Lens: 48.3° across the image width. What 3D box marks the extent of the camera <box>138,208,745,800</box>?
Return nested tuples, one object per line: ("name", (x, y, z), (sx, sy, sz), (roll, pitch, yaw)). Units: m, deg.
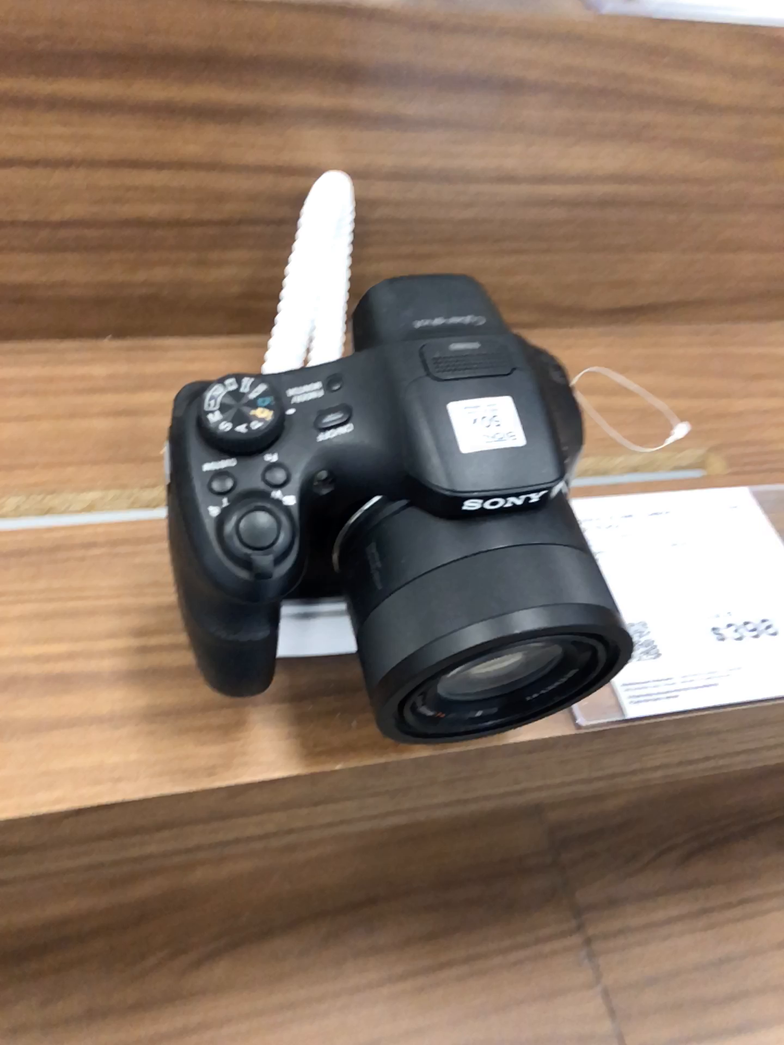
("camera", (-0.002, -0.012, 0.271), (0.130, 0.100, 0.140), (-6, 54, -15))
